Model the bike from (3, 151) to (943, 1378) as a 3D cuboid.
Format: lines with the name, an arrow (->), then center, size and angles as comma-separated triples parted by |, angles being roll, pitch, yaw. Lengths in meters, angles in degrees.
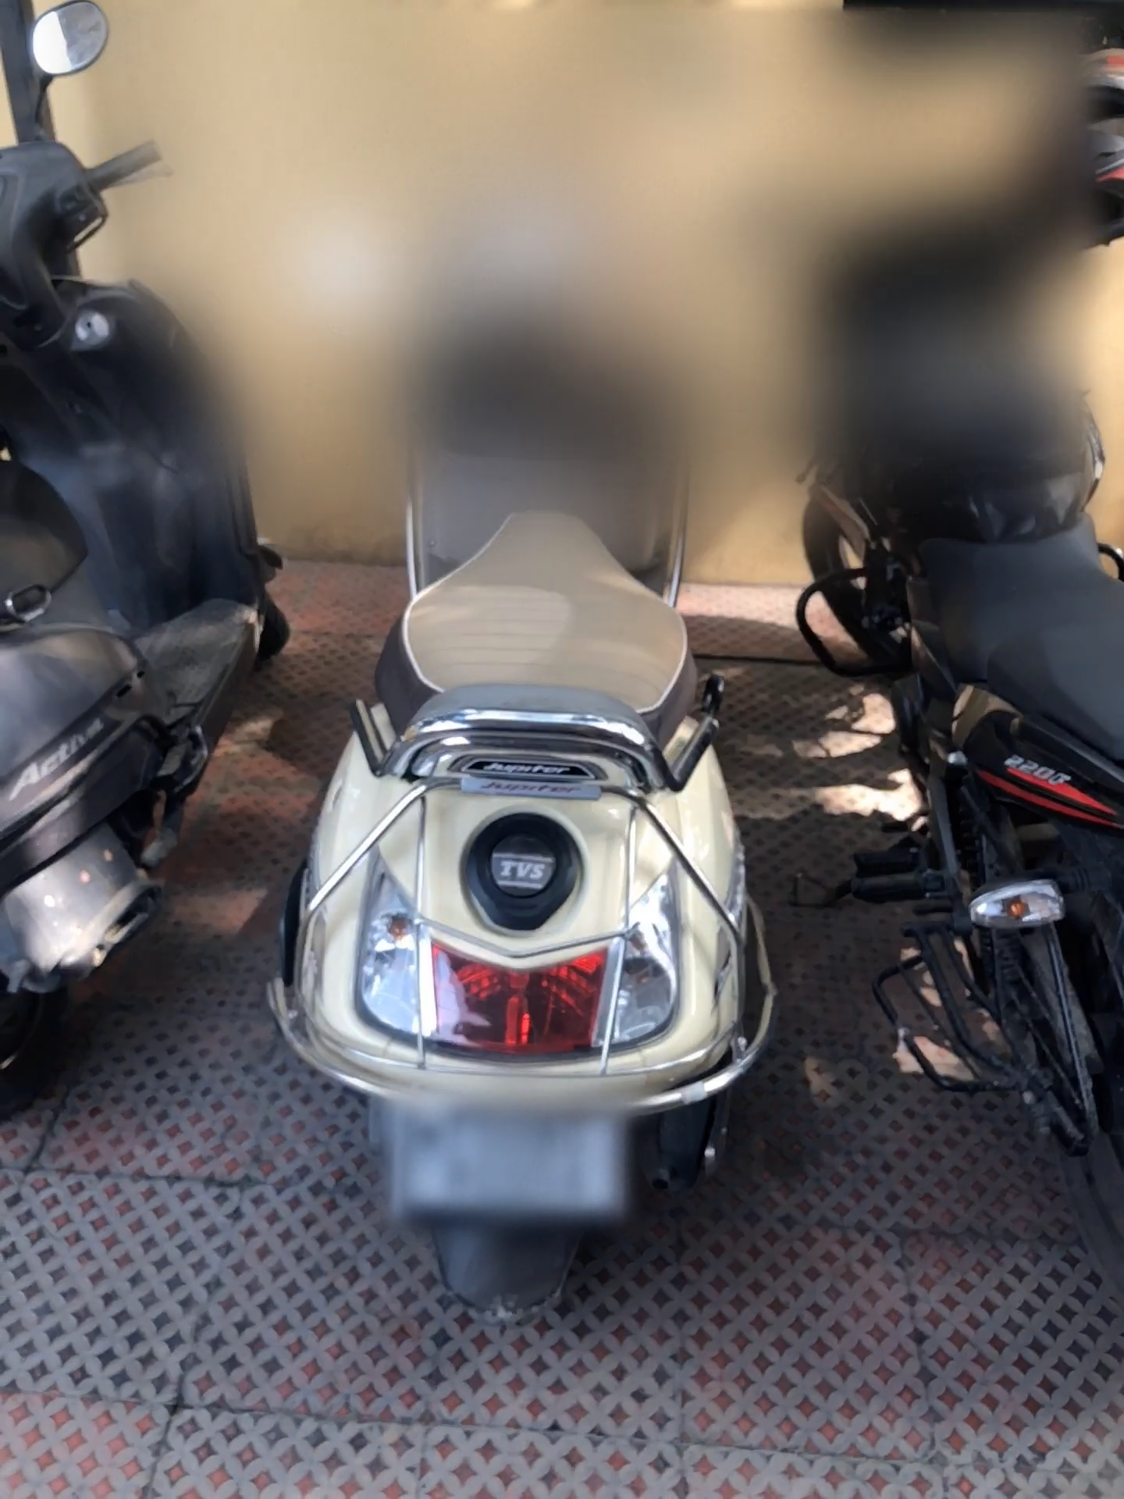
bike -> -0.148, -0.166, 1.808 | 0.644, 0.998, 1.635 | -1, 35, -4
